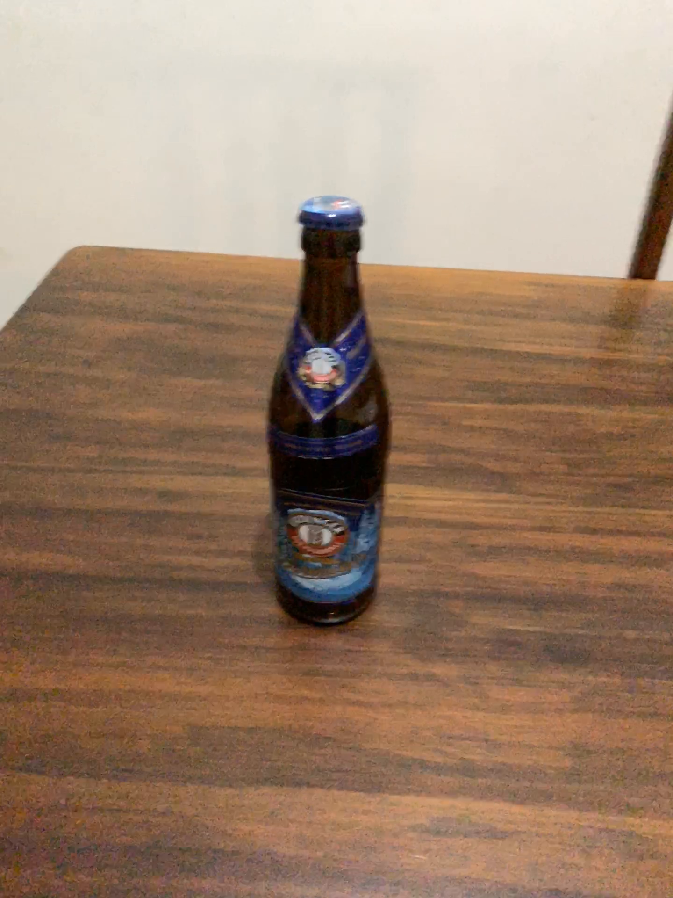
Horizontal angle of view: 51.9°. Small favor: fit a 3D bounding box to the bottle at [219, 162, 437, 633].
[{"bbox_3d":[-0.003,-0.008,0.362,0.080,0.249,0.070,5,42,3],"label":"bottle"}]
